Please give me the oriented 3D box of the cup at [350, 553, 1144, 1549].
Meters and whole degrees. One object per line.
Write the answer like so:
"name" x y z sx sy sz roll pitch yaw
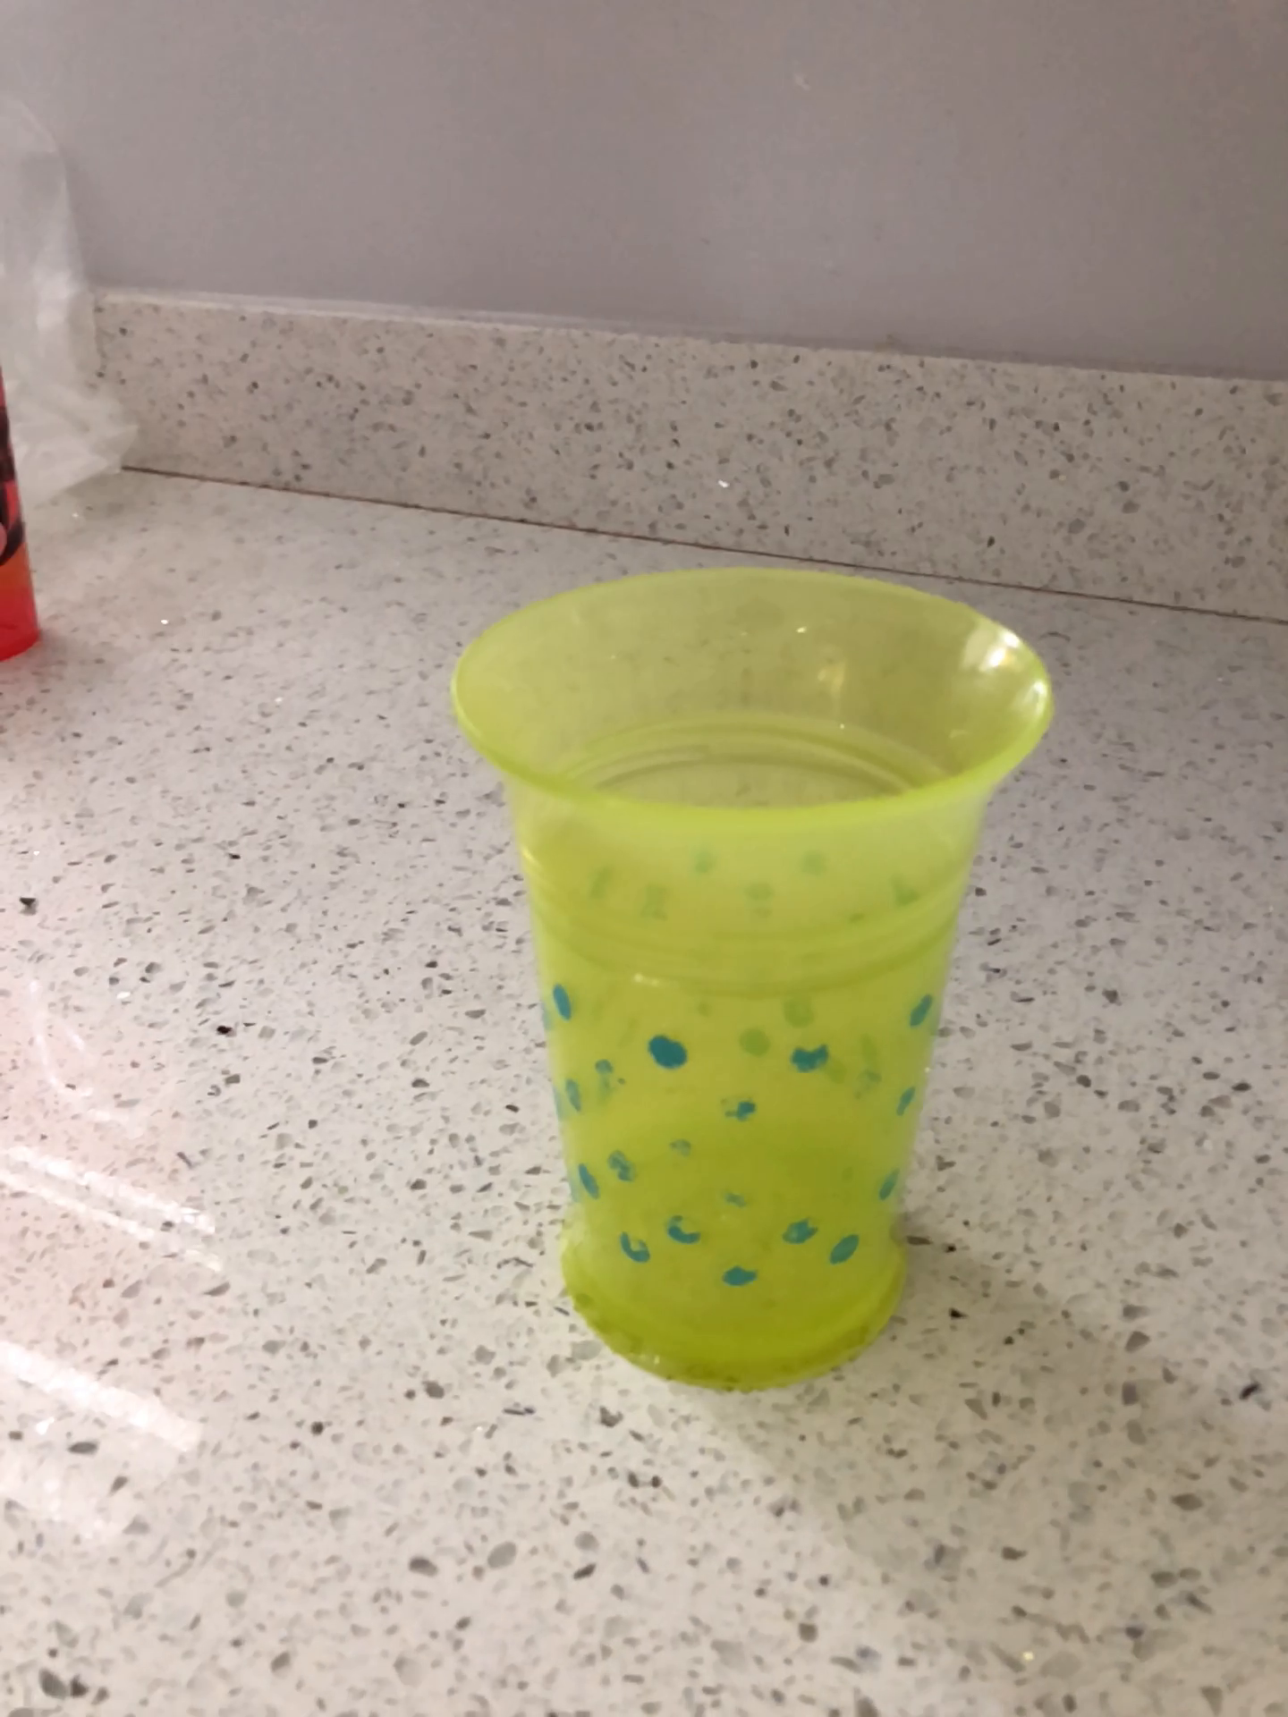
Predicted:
"cup" 0.014 0.023 0.219 0.073 0.109 0.078 -1 31 1
